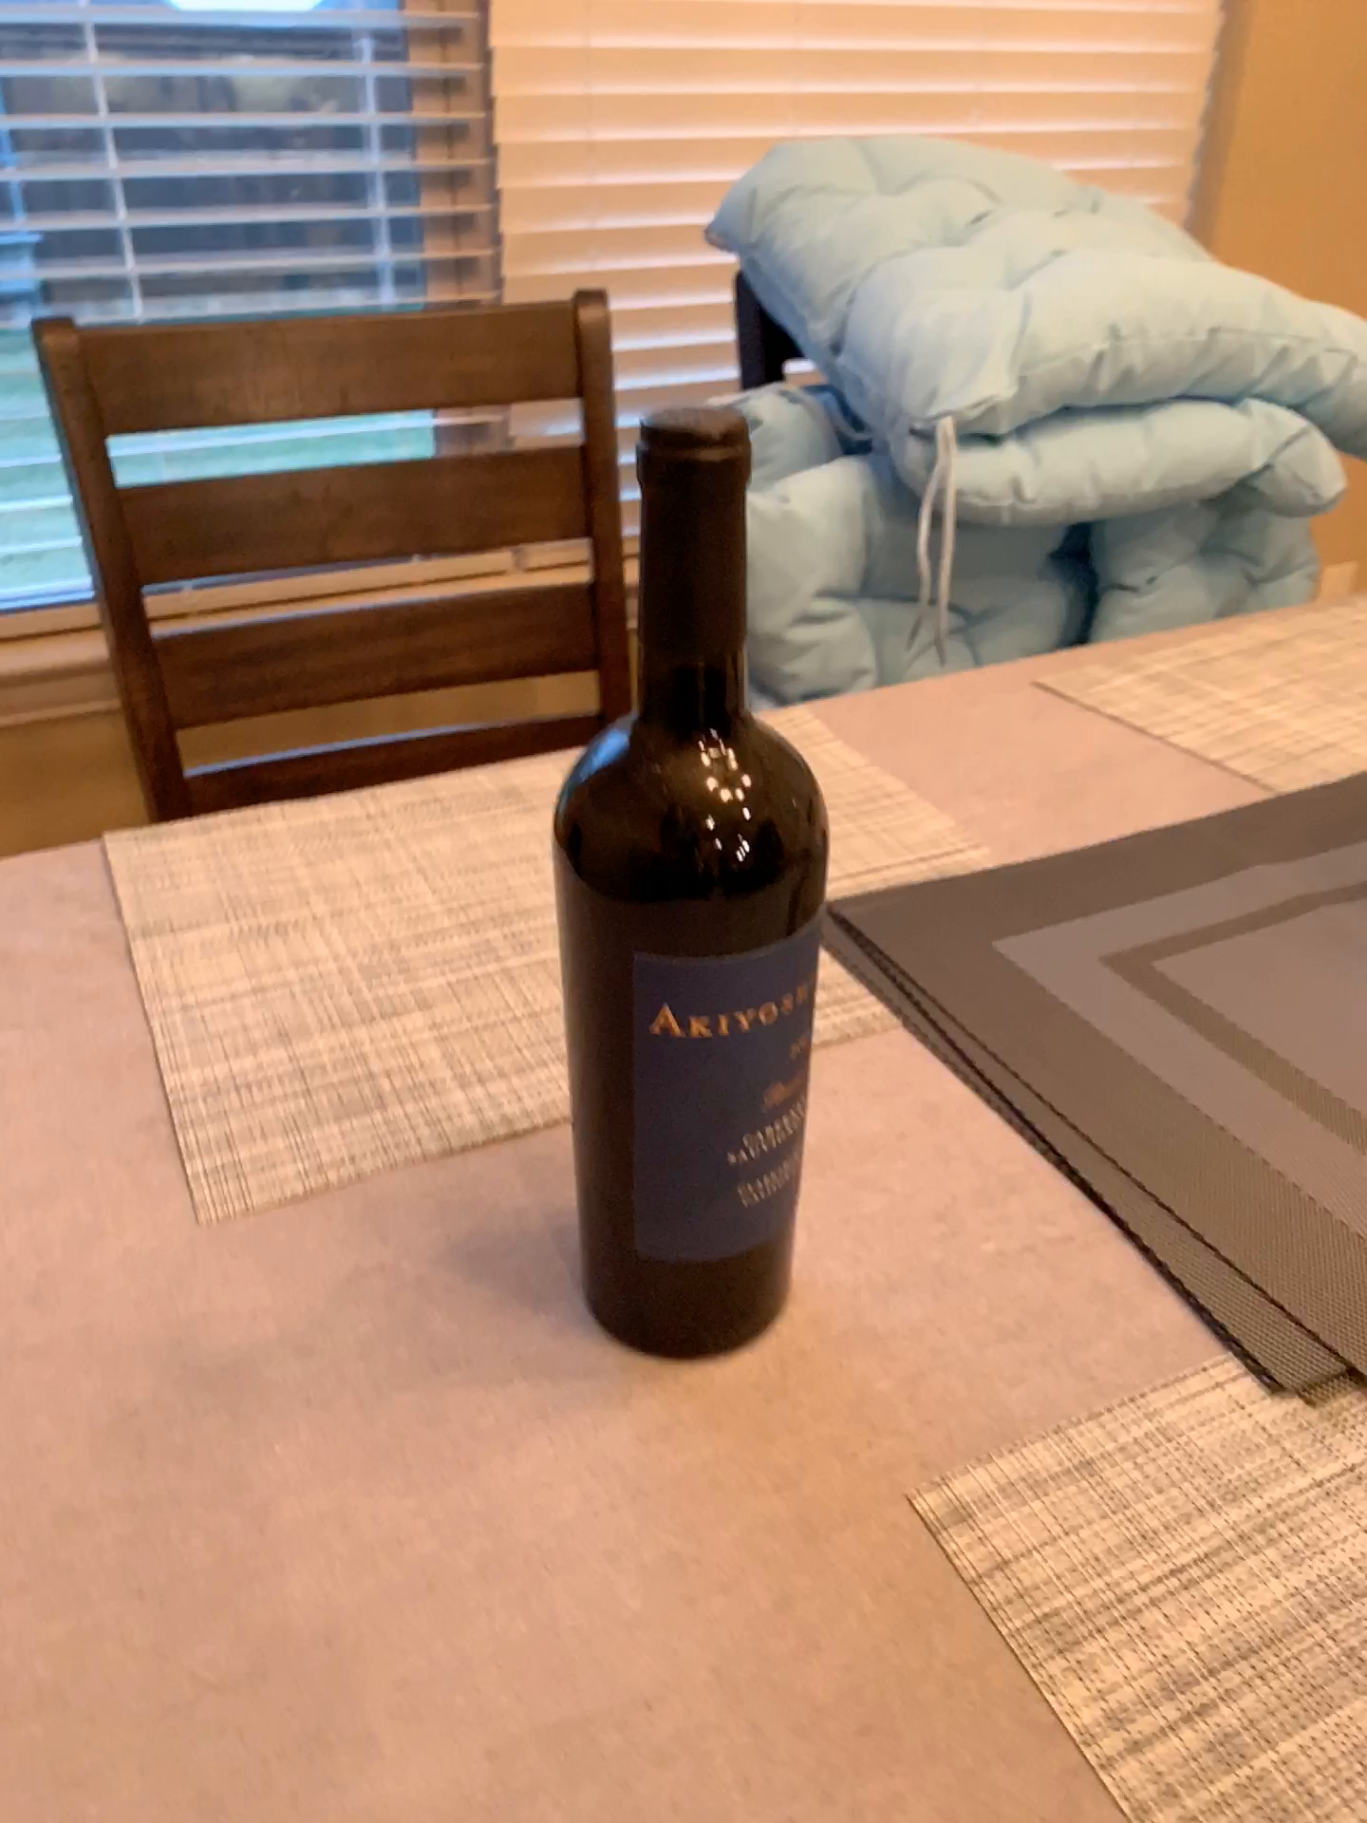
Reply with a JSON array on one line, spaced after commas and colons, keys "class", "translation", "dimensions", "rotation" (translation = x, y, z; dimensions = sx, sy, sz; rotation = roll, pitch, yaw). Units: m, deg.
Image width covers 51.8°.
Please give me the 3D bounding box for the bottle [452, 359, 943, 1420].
[{"class": "bottle", "translation": [0.000, 0.002, 0.426], "dimensions": [0.090, 0.298, 0.090], "rotation": [0, 30, 0]}]
